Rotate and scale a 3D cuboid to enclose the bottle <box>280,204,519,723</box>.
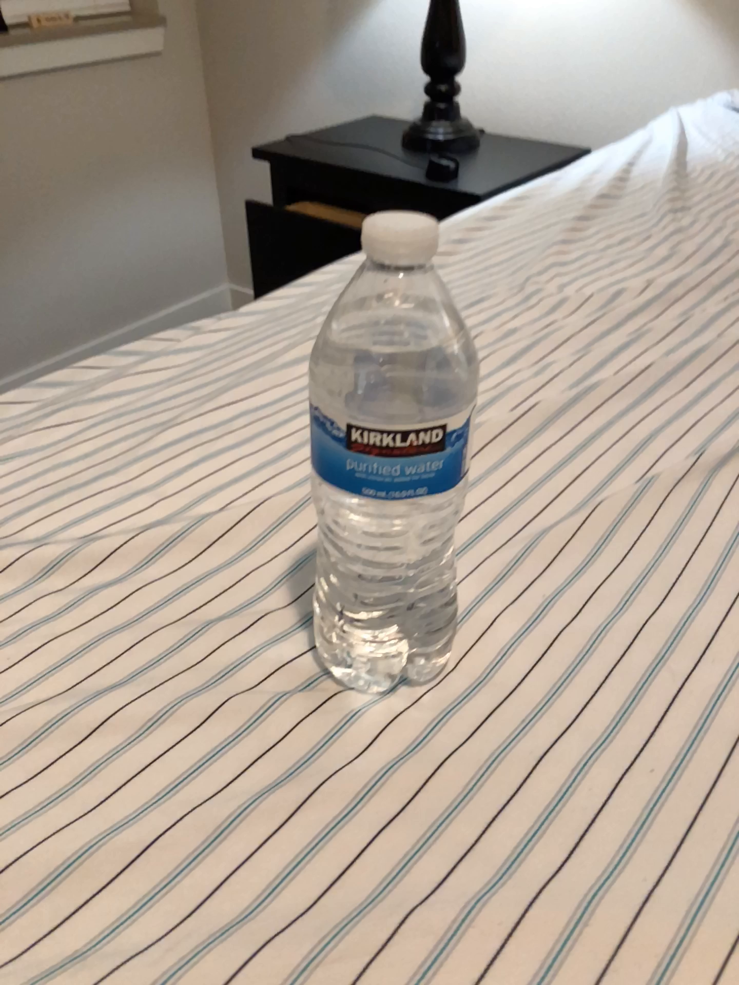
[{"bbox_3d":[0.011,-0.003,0.326,0.070,0.199,0.070,-1,35,1],"label":"bottle"}]
